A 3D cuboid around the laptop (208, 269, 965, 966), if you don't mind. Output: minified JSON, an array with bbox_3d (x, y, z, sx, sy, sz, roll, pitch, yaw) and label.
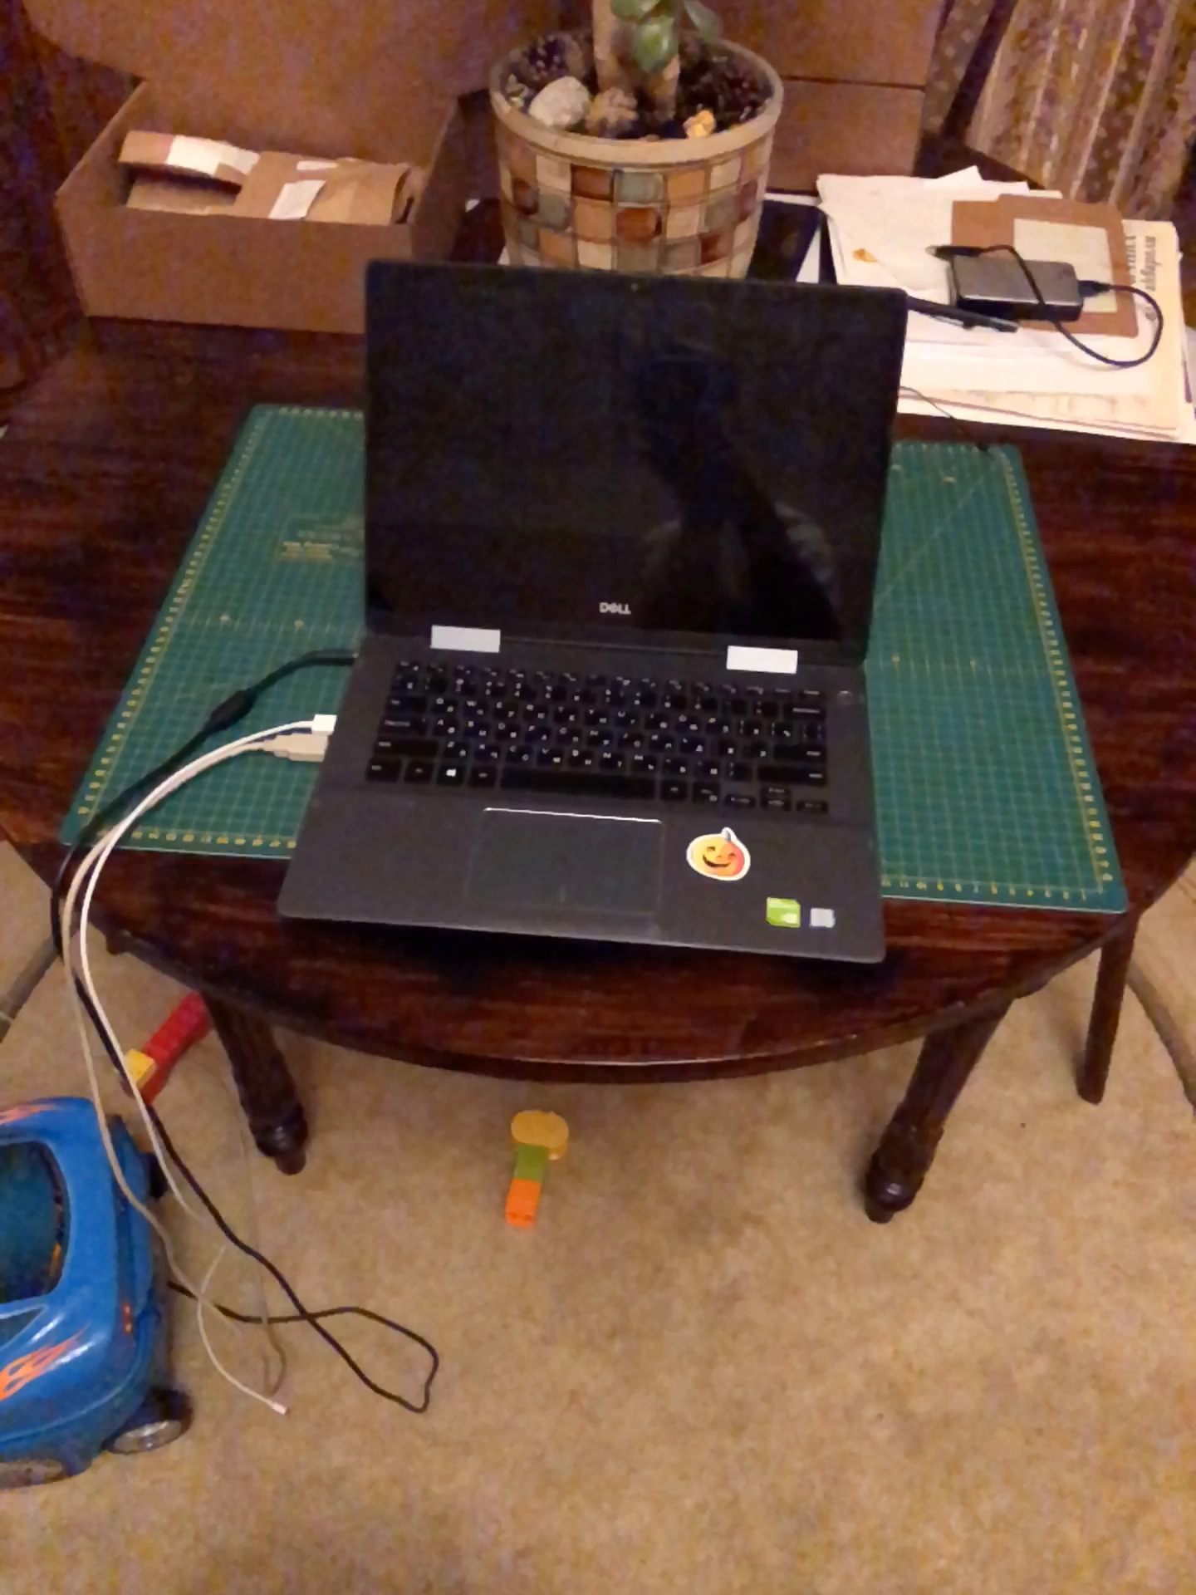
[{"bbox_3d":[0.007,-0.114,0.739,0.320,0.192,0.339,4,49,3],"label":"laptop"}]
